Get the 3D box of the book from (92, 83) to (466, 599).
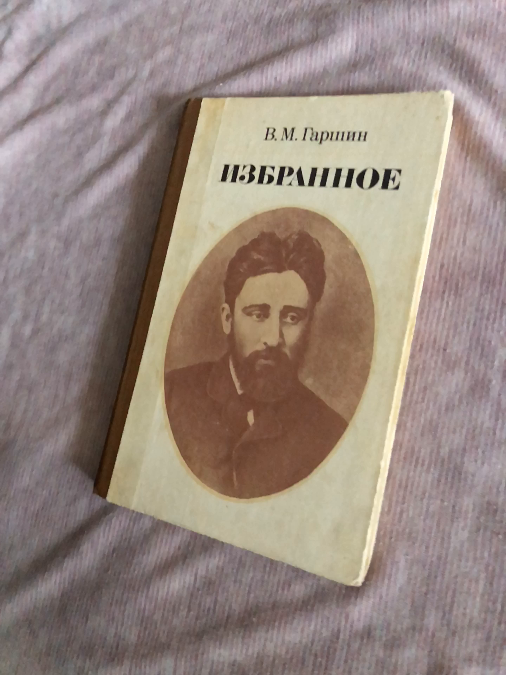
[{"bbox_3d":[0.010,-0.011,0.278,0.142,0.030,0.220,10,85,26],"label":"book"}]
